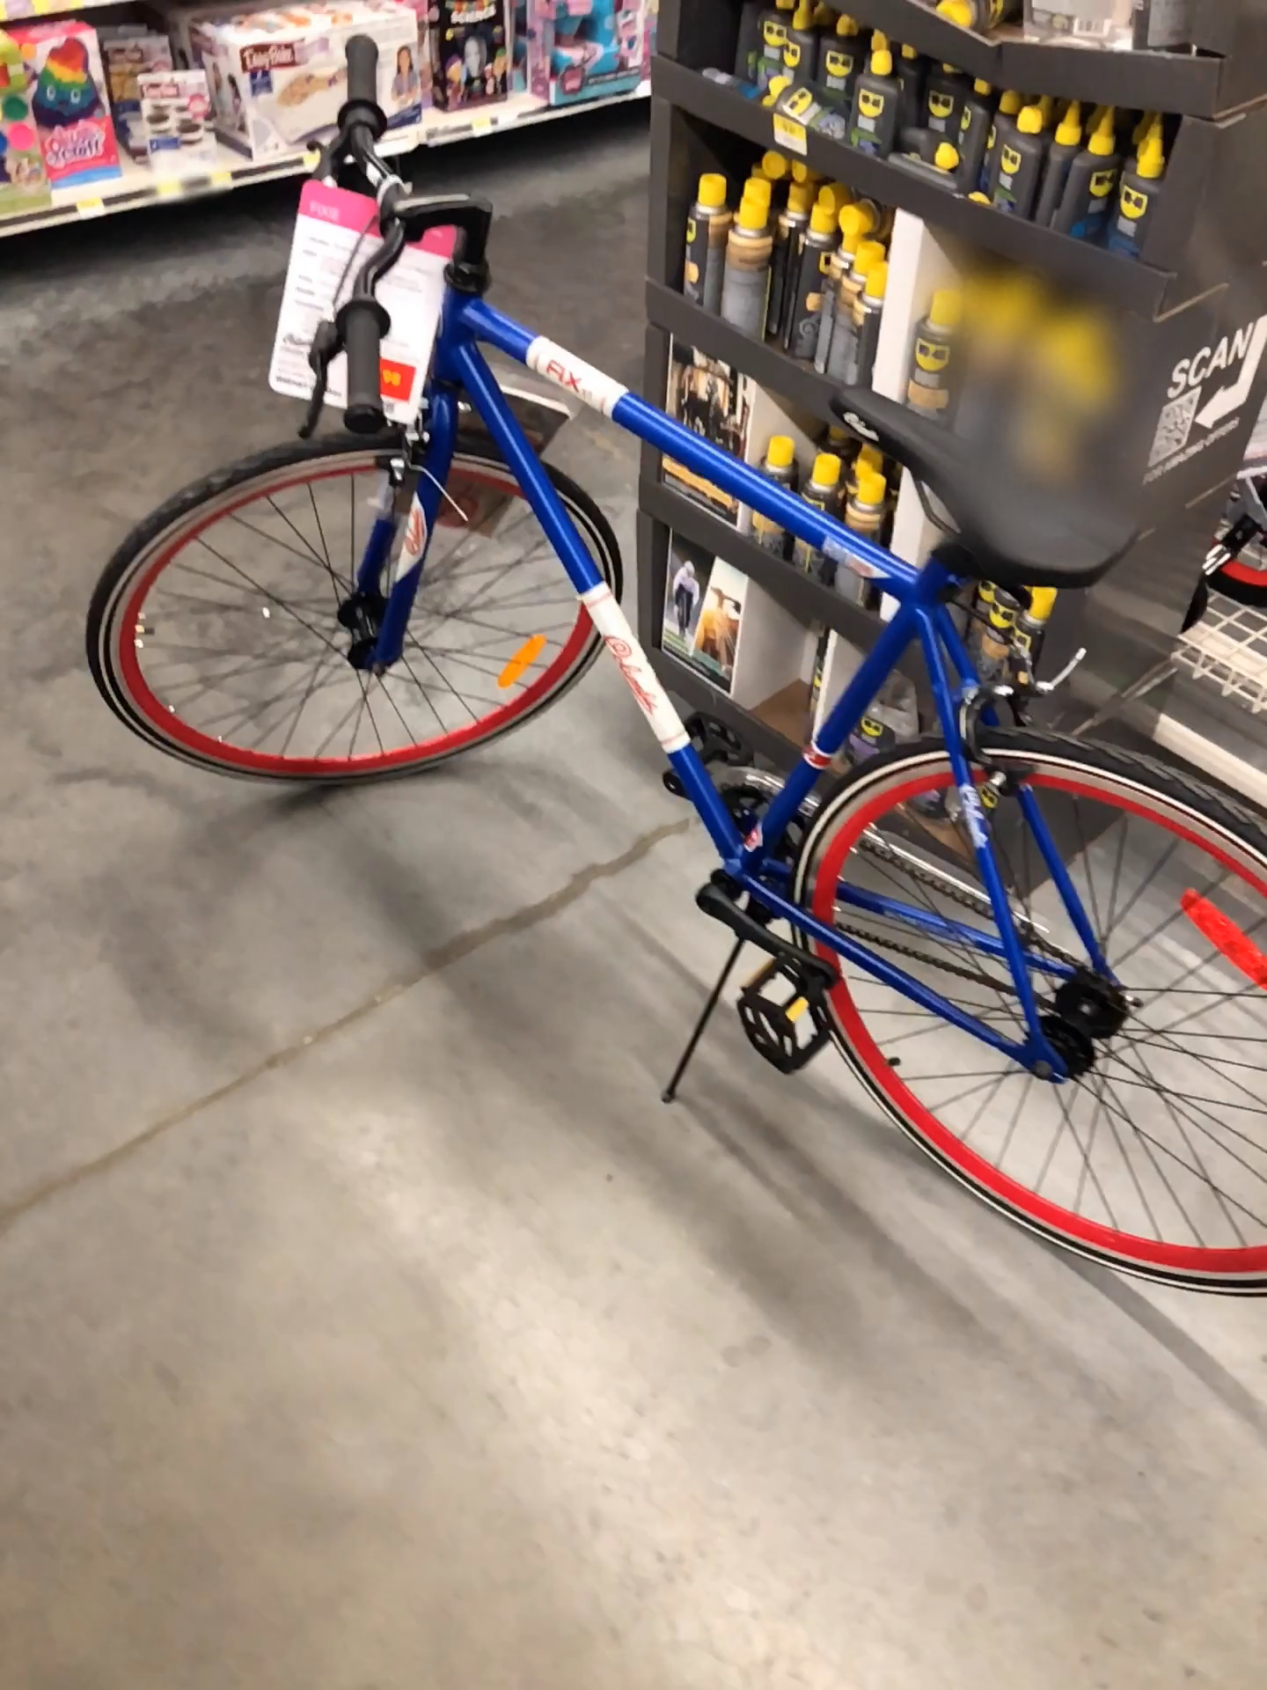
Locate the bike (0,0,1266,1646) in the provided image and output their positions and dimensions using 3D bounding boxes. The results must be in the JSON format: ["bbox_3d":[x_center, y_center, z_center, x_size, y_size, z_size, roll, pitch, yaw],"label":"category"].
[{"bbox_3d":[0.037,-0.085,1.272,1.492,0.938,0.604,27,49,16],"label":"bike"}]
